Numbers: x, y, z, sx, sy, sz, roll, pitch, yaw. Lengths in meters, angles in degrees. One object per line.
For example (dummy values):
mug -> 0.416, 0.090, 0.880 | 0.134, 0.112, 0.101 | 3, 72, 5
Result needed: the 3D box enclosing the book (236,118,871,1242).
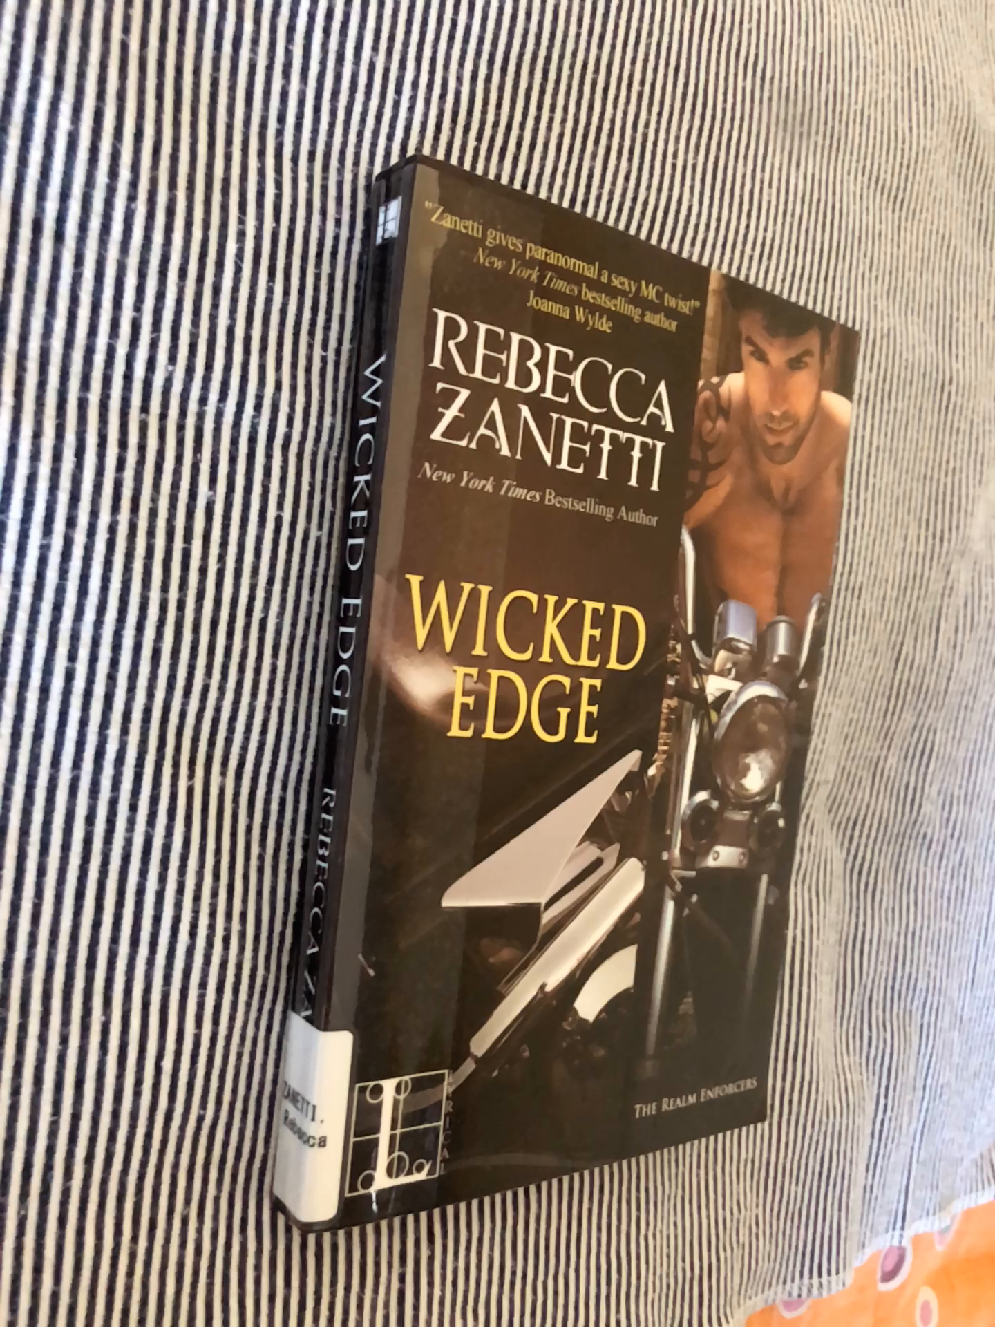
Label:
book -> 0.021, 0.009, 0.264 | 0.138, 0.030, 0.215 | 6, 91, -37
